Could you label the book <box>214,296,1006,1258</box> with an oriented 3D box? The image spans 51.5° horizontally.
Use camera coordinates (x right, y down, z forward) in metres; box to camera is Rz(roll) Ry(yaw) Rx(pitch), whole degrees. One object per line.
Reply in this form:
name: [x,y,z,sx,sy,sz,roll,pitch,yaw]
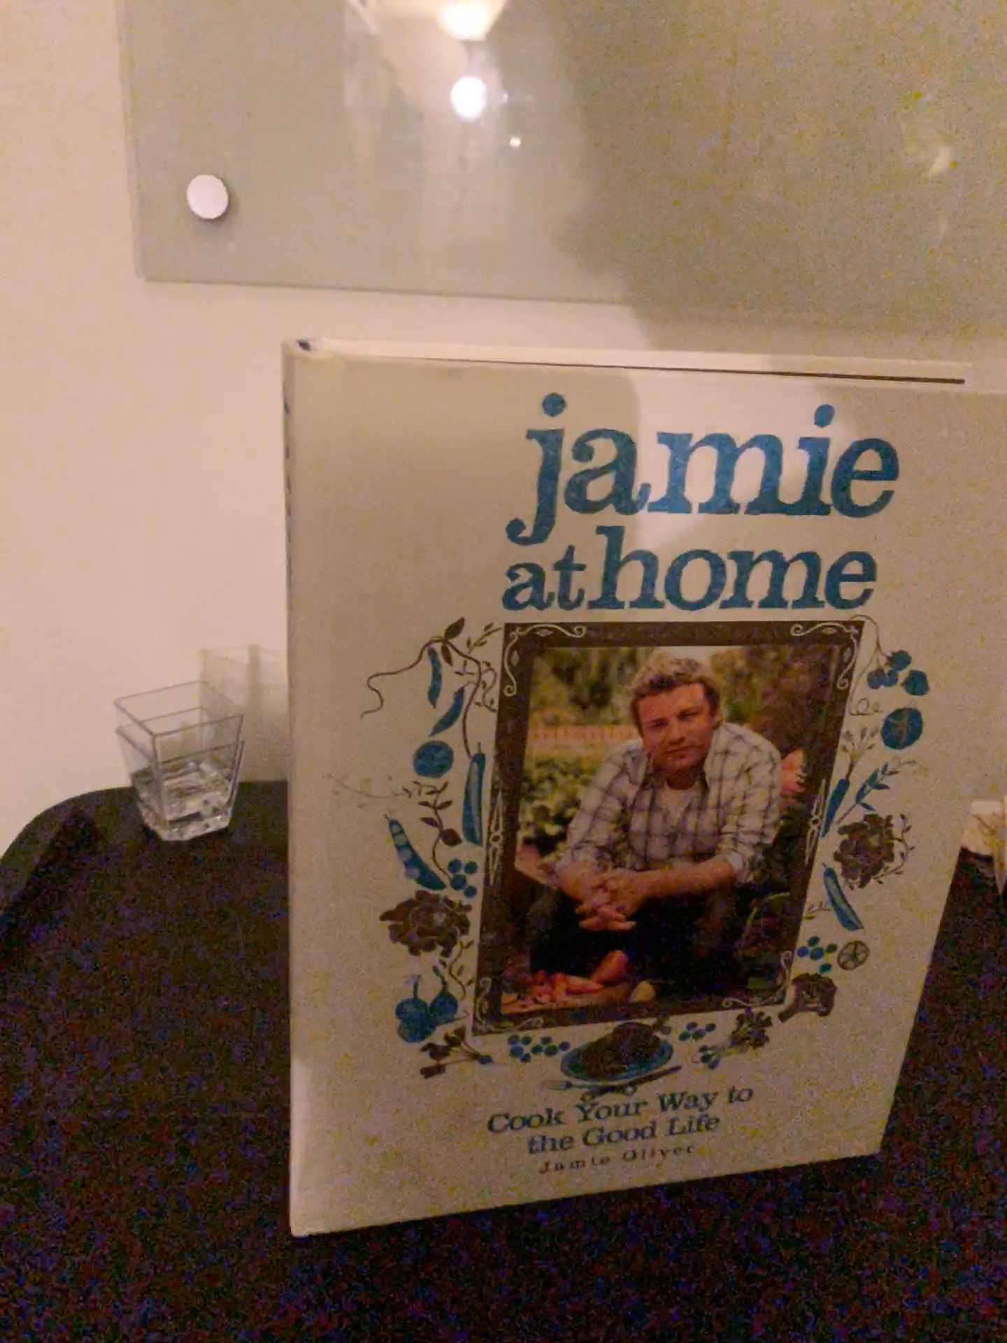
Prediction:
book: [0.031,0.039,0.307,0.210,0.269,0.050,-1,22,-12]
